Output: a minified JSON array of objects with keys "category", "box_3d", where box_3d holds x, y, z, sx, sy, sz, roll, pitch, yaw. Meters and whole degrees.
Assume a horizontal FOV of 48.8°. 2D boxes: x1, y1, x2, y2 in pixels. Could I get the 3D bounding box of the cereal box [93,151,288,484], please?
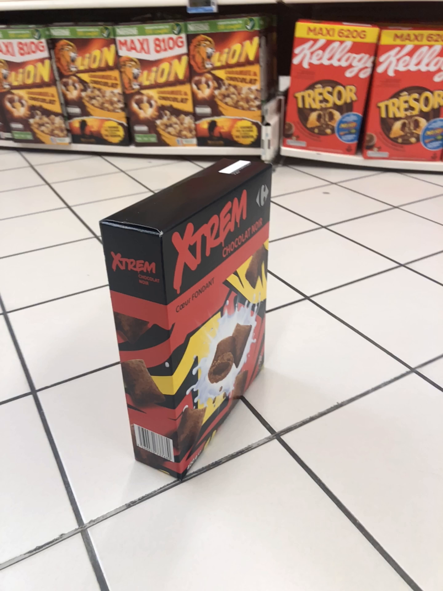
[{"category":"cereal box","box_3d":[-0.011,0.011,0.475,0.070,0.248,0.201,14,33,25]}]
